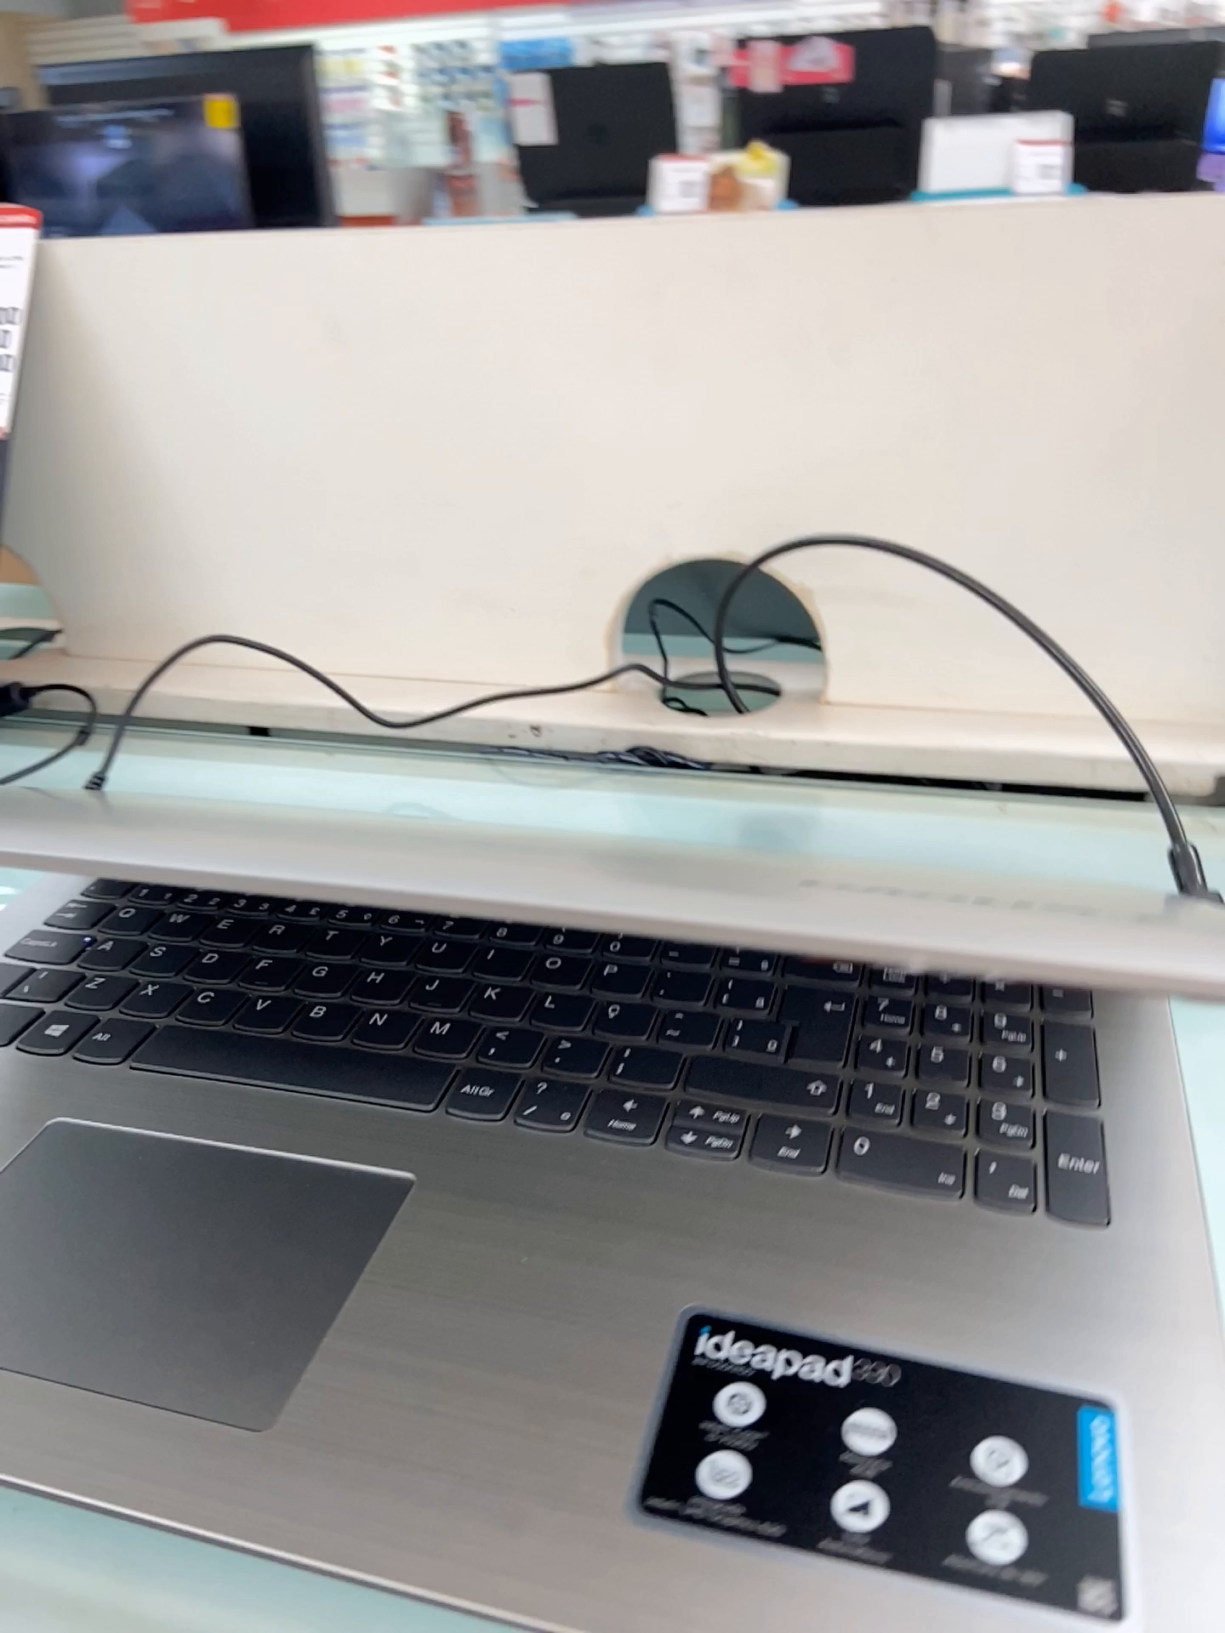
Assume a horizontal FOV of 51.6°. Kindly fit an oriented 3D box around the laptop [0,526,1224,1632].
[{"bbox_3d":[-0.050,0.021,0.310,0.369,0.114,0.247,4,29,17],"label":"laptop"}]

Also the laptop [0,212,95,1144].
[{"bbox_3d":[-0.499,-0.118,0.515,0.354,0.211,0.402,5,28,12],"label":"laptop"}]
